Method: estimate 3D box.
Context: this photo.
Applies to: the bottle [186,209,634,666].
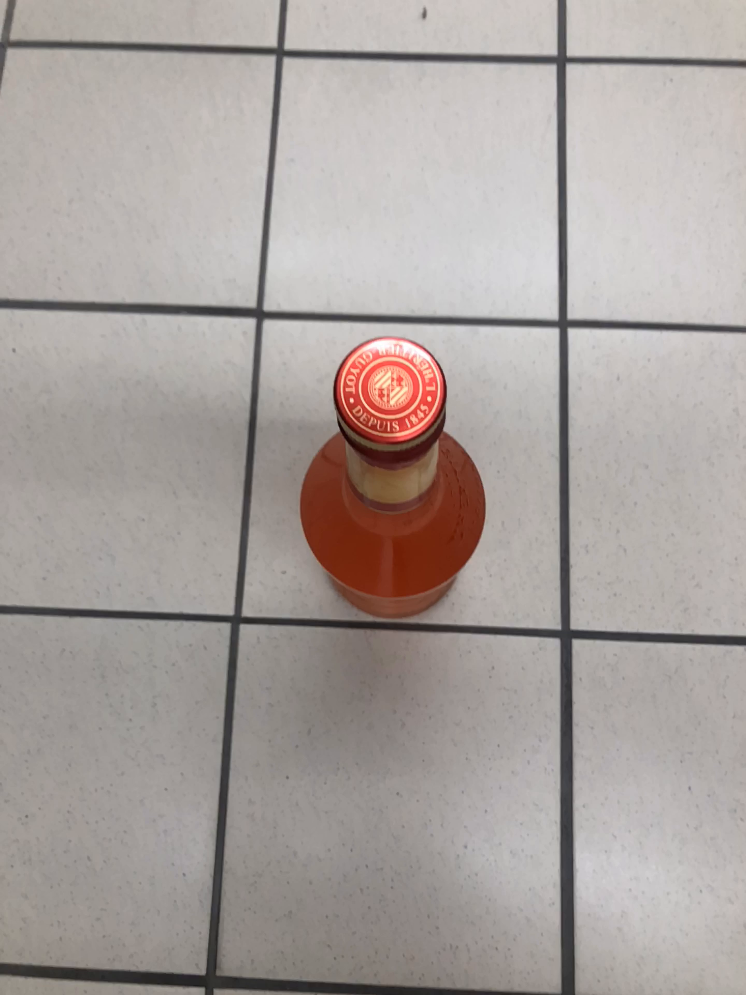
[{"bbox_3d":[0.013,0.009,0.378,0.090,0.300,0.090,0,77,1],"label":"bottle"}]
